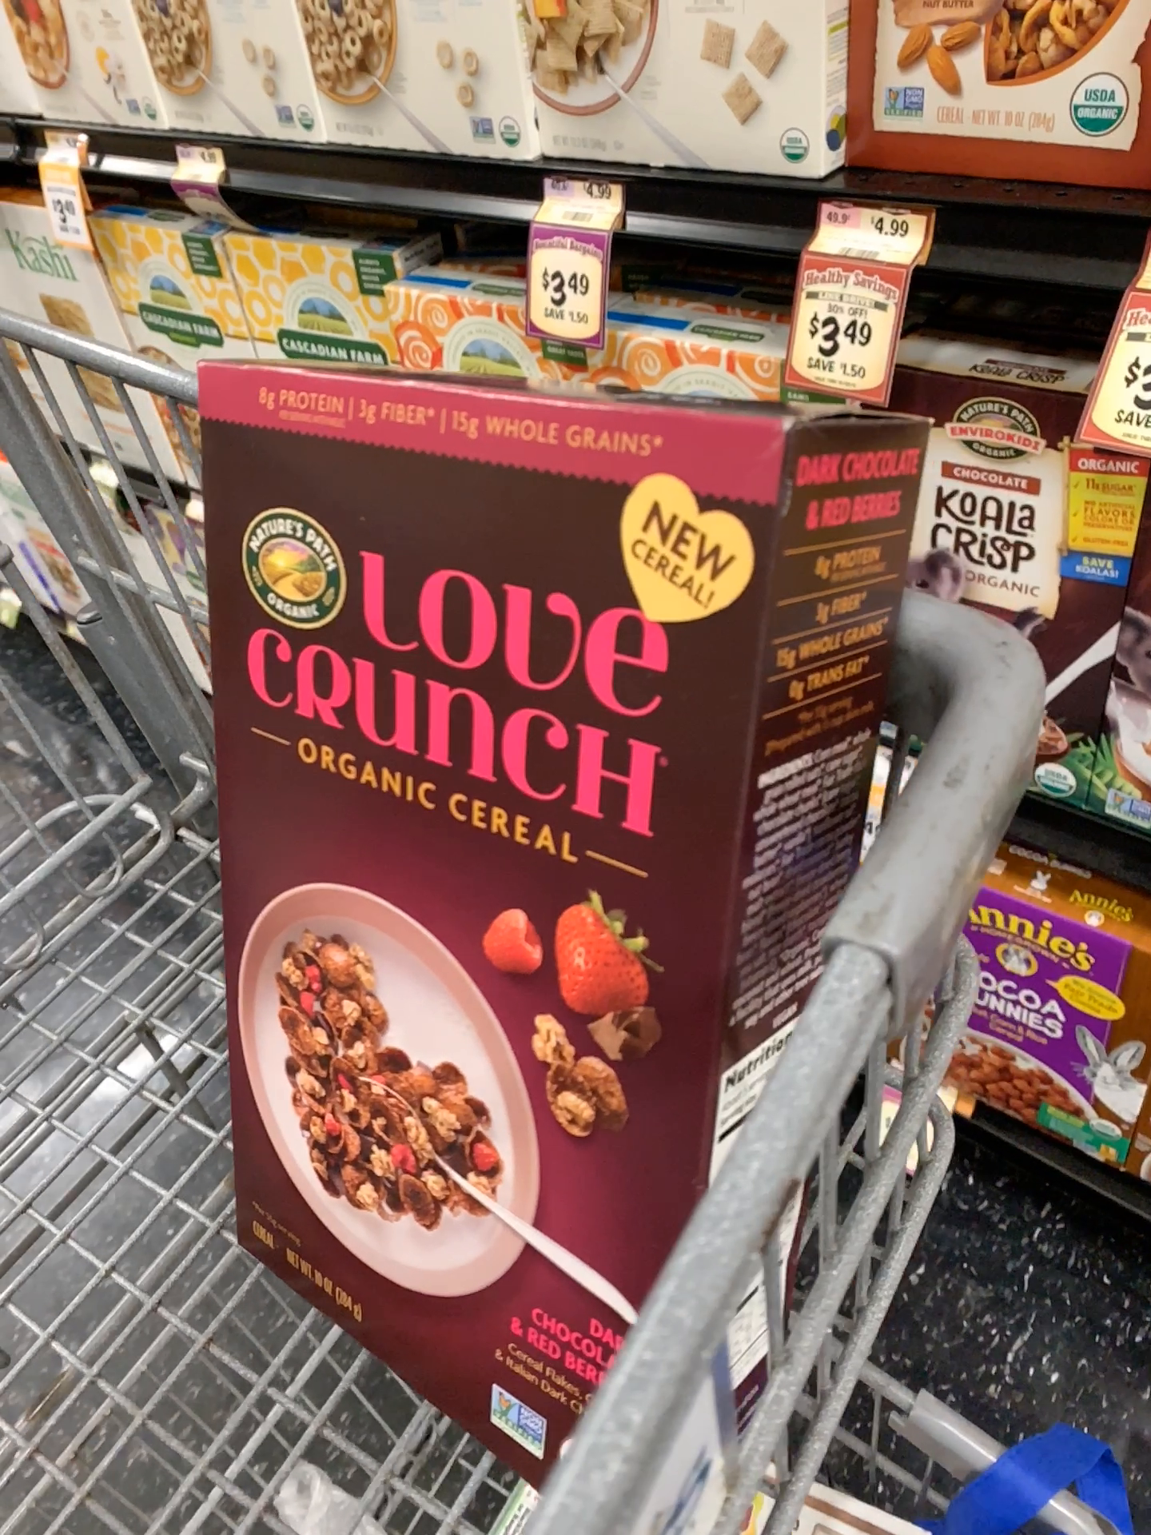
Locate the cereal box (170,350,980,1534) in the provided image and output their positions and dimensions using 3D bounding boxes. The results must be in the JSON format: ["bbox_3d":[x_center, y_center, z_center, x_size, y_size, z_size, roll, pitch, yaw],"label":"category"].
[{"bbox_3d":[-0.015,0.038,0.281,0.160,0.249,0.060,19,26,35],"label":"cereal box"}]
